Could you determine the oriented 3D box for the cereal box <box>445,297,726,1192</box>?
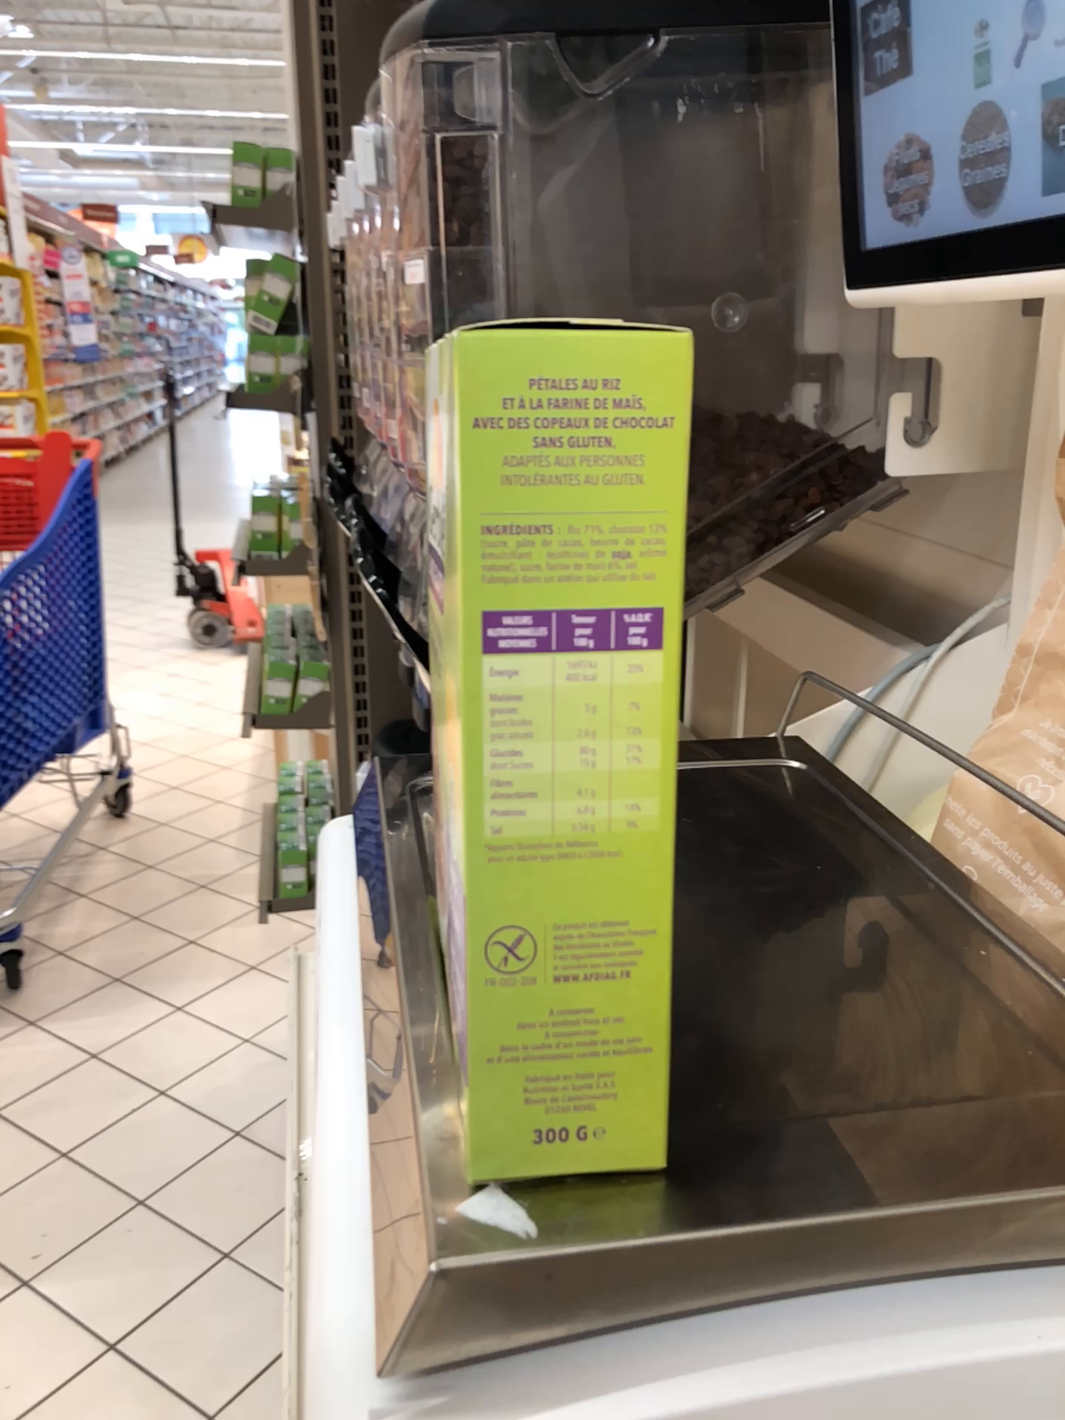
[{"bbox_3d":[0.006,-0.007,0.378,0.060,0.219,0.201,-2,13,-4],"label":"cereal box"}]
